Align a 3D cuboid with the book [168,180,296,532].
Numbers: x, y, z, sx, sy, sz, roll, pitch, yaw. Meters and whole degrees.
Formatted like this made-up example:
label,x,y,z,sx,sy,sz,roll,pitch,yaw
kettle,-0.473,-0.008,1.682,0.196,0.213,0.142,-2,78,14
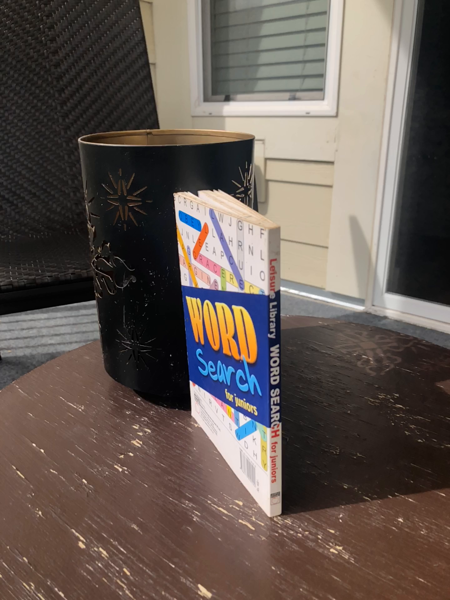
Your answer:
label,x,y,z,sx,sy,sz,roll,pitch,yaw
book,0.002,0.025,0.311,0.031,0.179,0.125,-10,21,-15
